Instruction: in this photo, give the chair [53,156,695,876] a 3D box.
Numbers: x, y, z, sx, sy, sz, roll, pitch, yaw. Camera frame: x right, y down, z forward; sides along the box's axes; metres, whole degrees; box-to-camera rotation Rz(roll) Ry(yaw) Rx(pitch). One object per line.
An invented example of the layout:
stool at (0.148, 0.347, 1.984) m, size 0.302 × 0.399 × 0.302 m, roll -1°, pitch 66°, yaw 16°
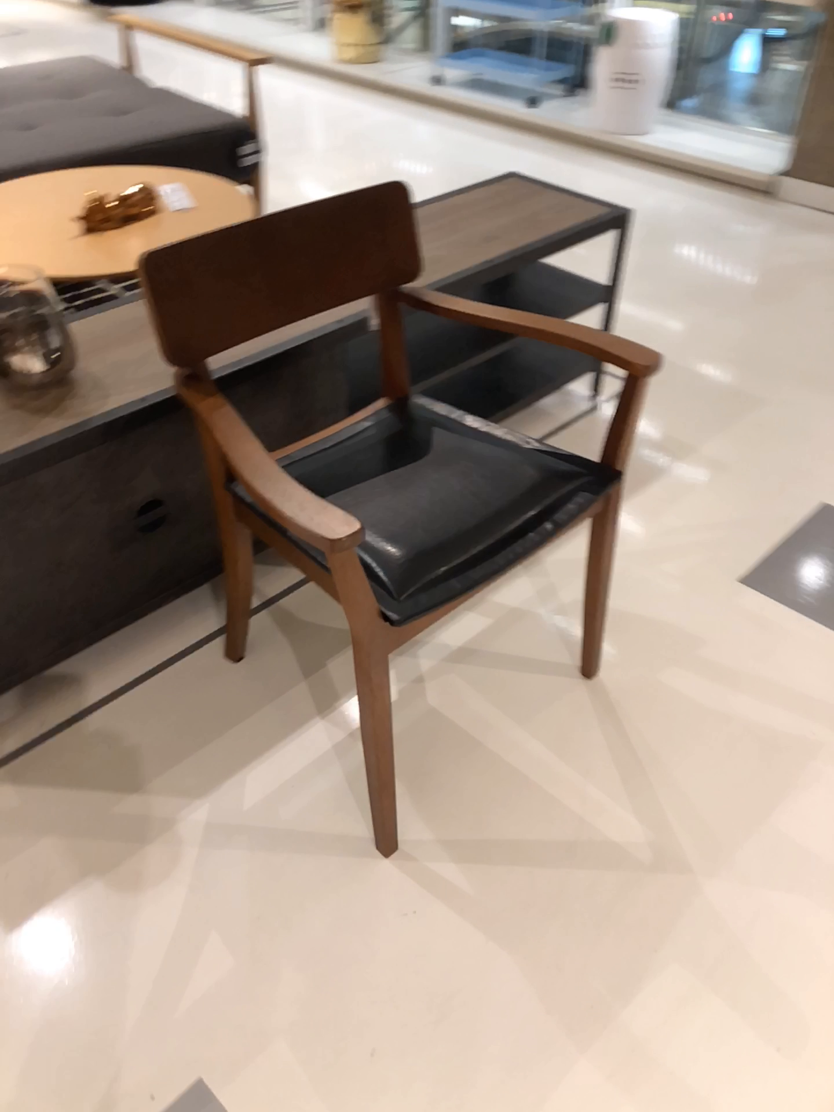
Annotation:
chair at (-0.057, -0.091, 1.374) m, size 0.572 × 0.744 × 0.563 m, roll 32°, pitch 48°, yaw 33°
